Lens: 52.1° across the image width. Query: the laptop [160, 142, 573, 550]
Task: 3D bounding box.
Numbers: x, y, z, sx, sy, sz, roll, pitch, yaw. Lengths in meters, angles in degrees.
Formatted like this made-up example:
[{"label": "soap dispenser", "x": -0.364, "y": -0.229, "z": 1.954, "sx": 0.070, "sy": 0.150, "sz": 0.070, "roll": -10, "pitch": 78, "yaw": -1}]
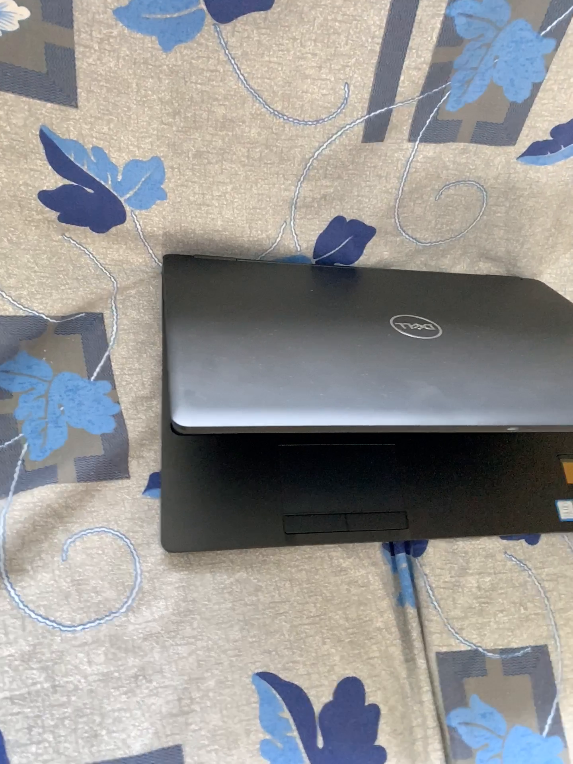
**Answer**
[{"label": "laptop", "x": 0.101, "y": -0.014, "z": 0.434, "sx": 0.372, "sy": 0.143, "sz": 0.238, "roll": 1, "pitch": 68, "yaw": -14}]
